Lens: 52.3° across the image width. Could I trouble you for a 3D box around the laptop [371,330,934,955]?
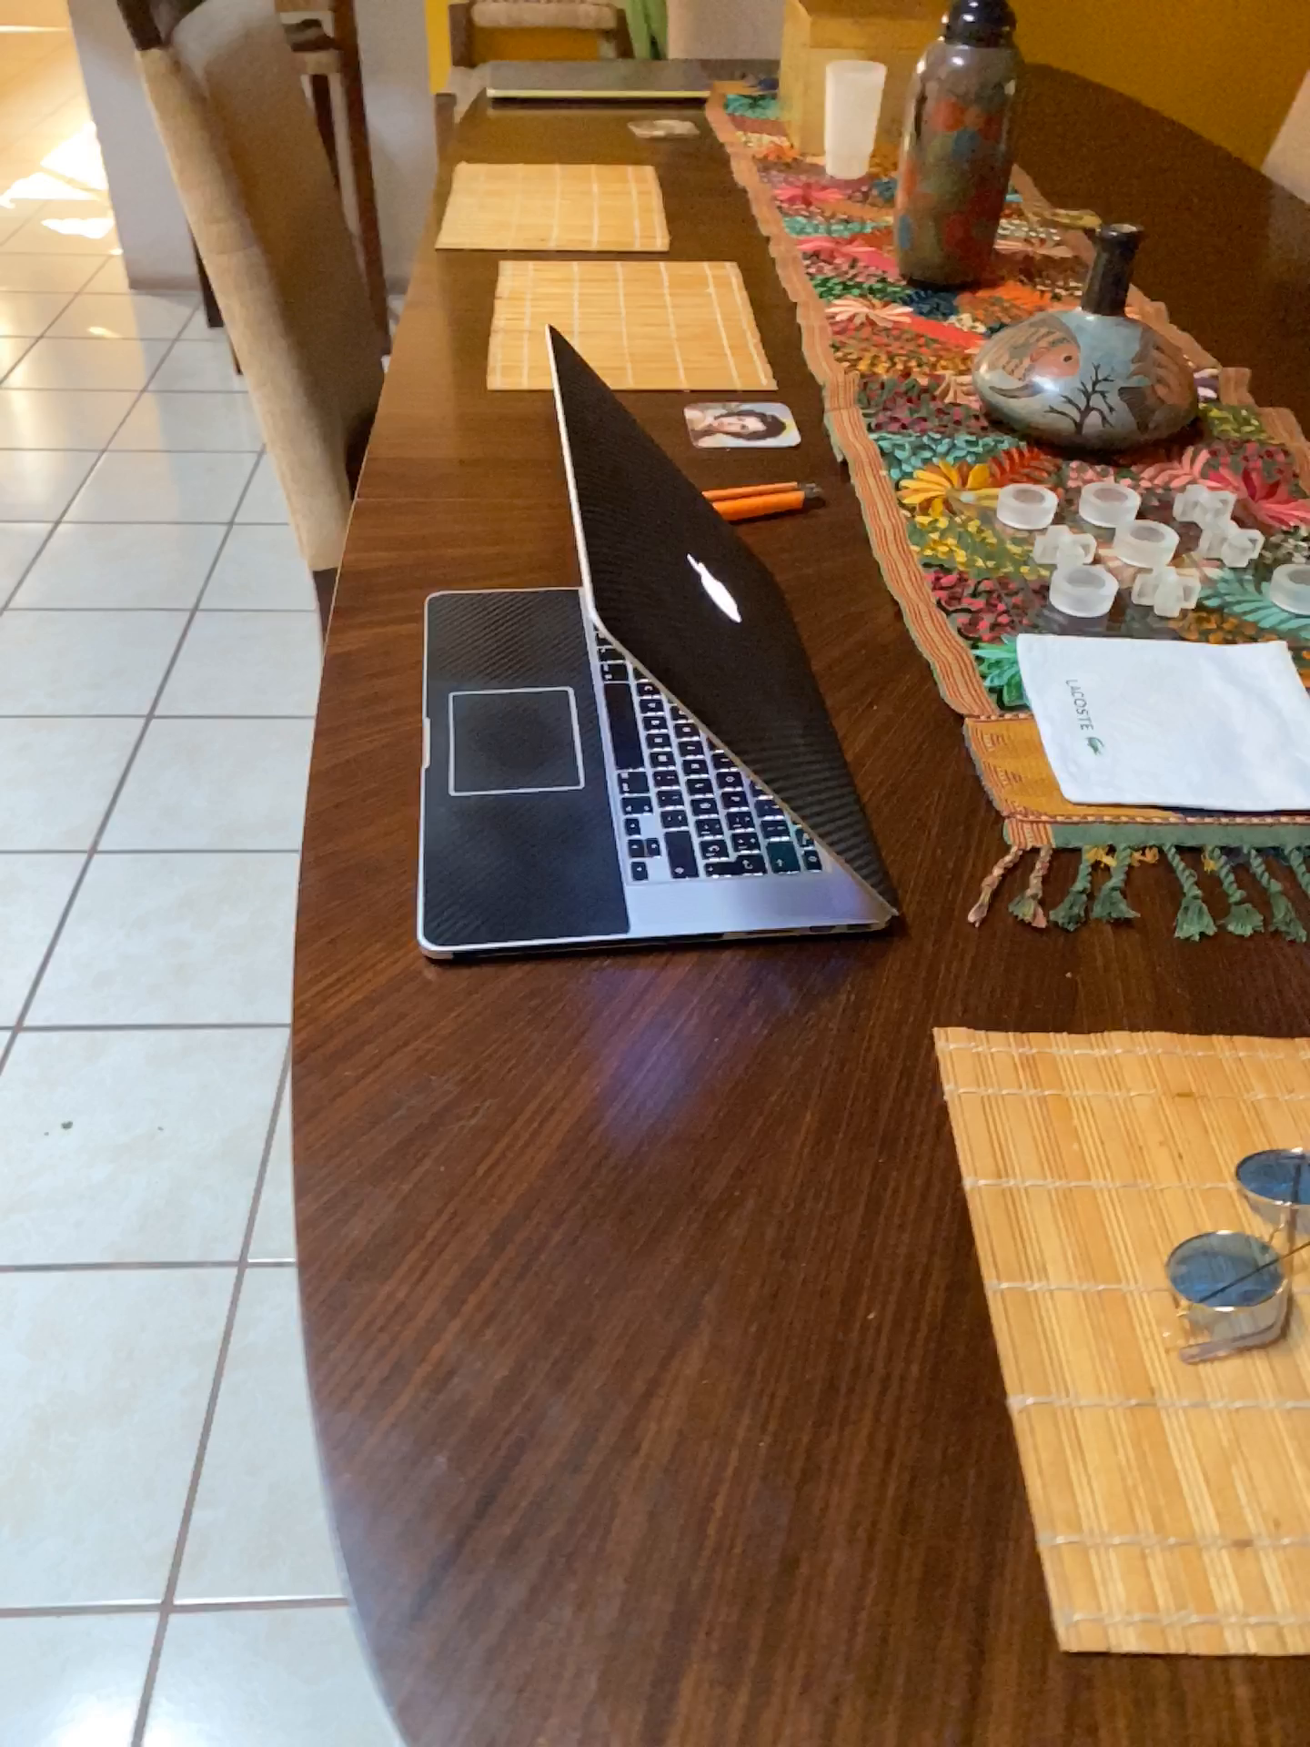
[{"bbox_3d":[-0.023,-0.150,0.747,0.235,0.181,0.356,-3,41,-6],"label":"laptop"}]
